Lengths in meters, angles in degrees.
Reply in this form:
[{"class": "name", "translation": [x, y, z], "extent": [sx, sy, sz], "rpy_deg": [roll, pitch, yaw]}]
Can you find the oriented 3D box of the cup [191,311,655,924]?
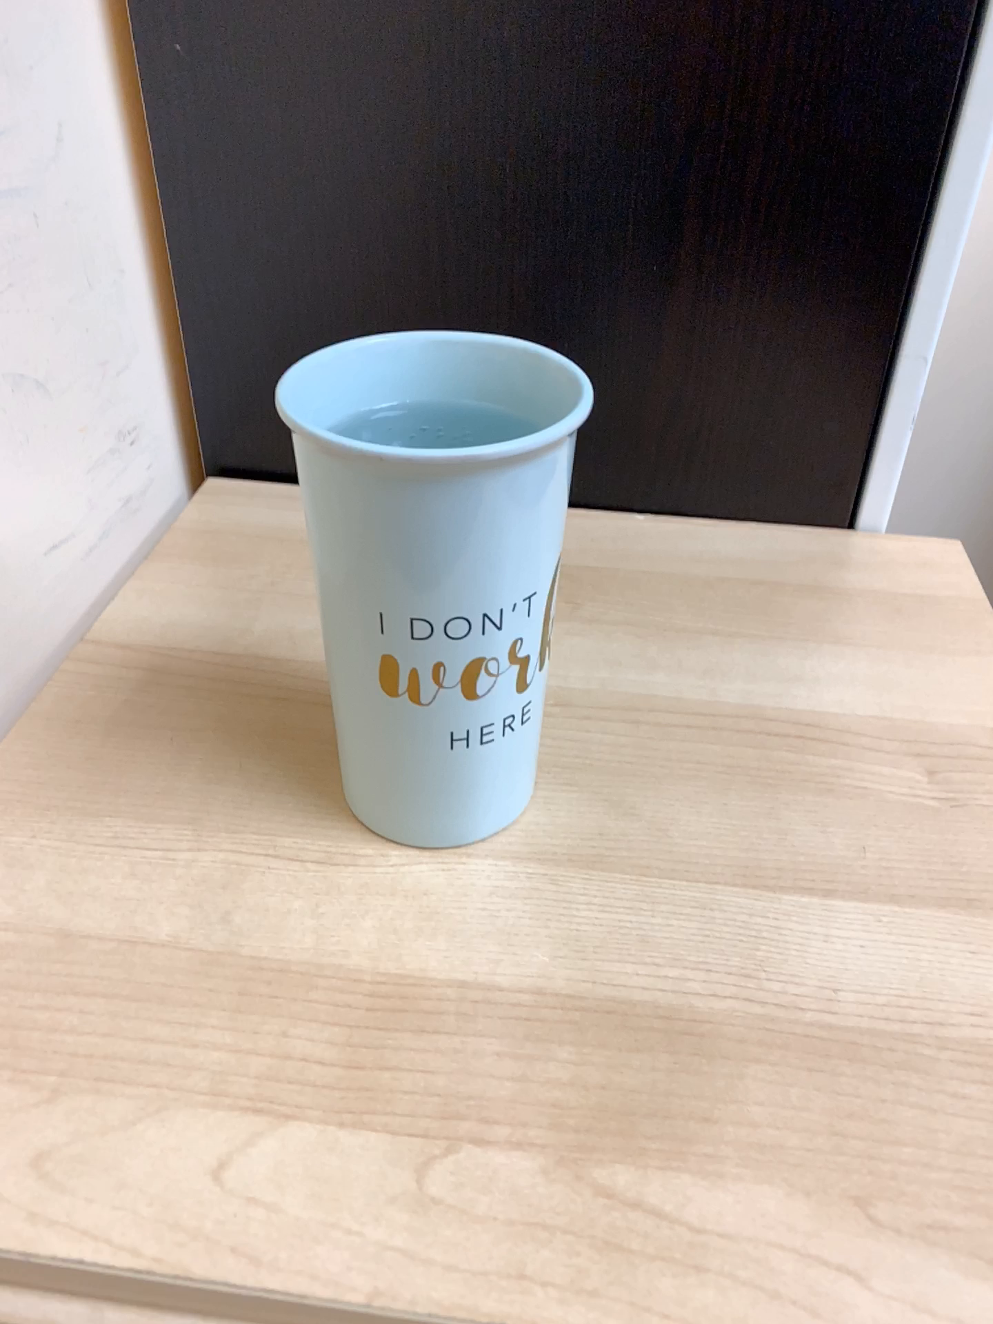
[{"class": "cup", "translation": [-0.021, -0.017, 0.340], "extent": [0.090, 0.155, 0.100], "rpy_deg": [27, 43, 30]}]
